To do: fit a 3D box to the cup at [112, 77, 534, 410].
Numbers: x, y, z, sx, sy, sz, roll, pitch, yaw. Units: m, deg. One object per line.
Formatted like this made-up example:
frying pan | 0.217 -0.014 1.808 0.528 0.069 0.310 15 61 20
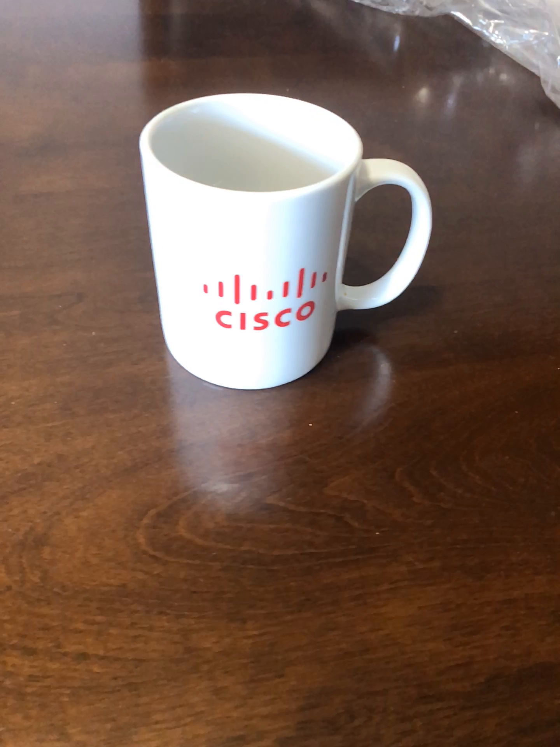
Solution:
cup | 0.008 -0.054 0.249 0.130 0.090 0.080 -7 46 -11
